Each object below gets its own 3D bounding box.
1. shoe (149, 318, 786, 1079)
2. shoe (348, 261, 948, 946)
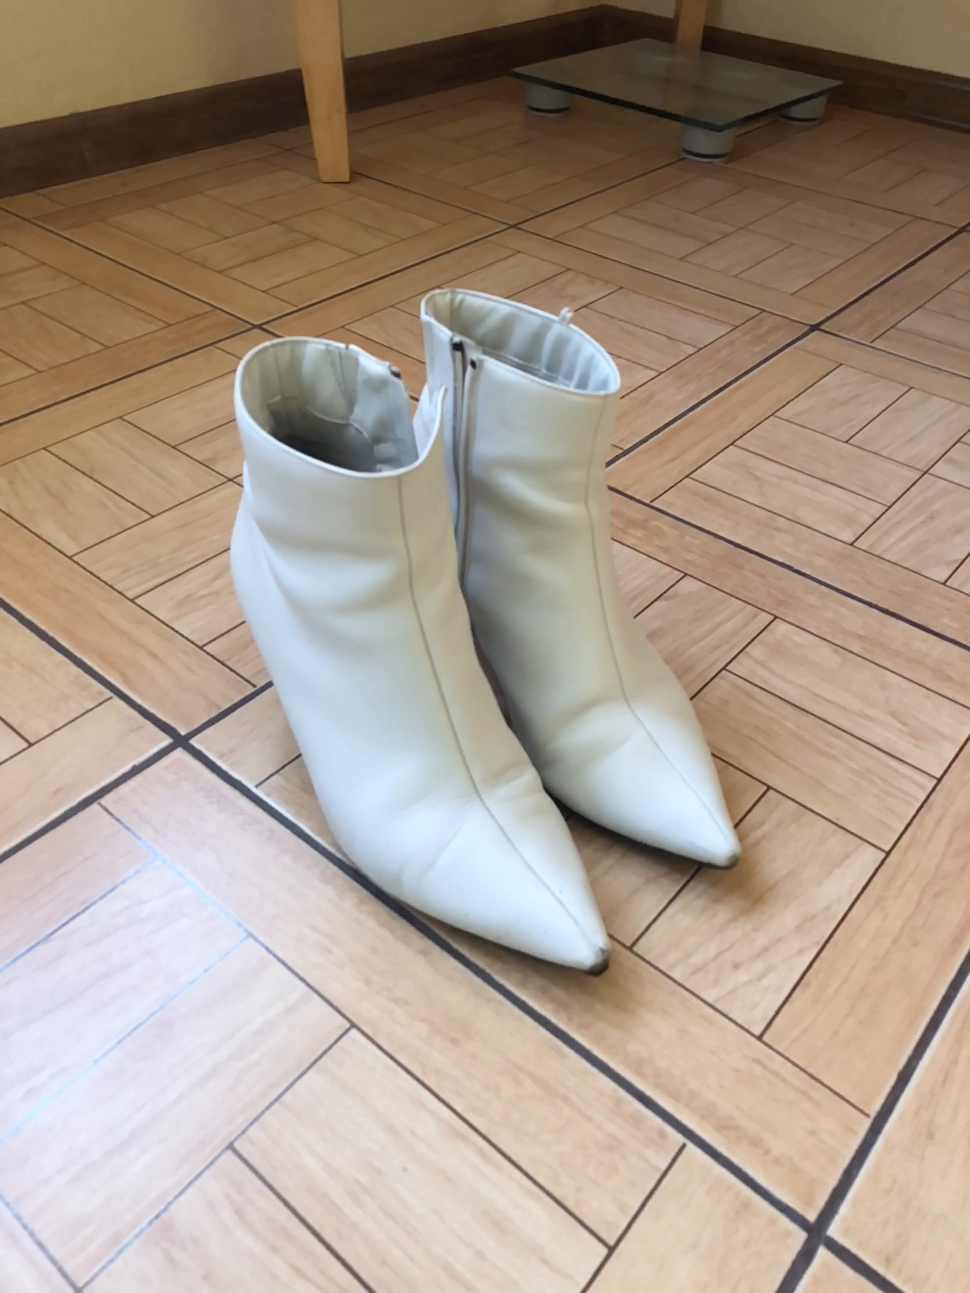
[{"bbox_3d":[-0.027,0.002,0.417,0.100,0.154,0.254,-21,46,-26],"label":"shoe"},{"bbox_3d":[0.040,-0.039,0.469,0.100,0.154,0.275,-16,44,-22],"label":"shoe"}]
